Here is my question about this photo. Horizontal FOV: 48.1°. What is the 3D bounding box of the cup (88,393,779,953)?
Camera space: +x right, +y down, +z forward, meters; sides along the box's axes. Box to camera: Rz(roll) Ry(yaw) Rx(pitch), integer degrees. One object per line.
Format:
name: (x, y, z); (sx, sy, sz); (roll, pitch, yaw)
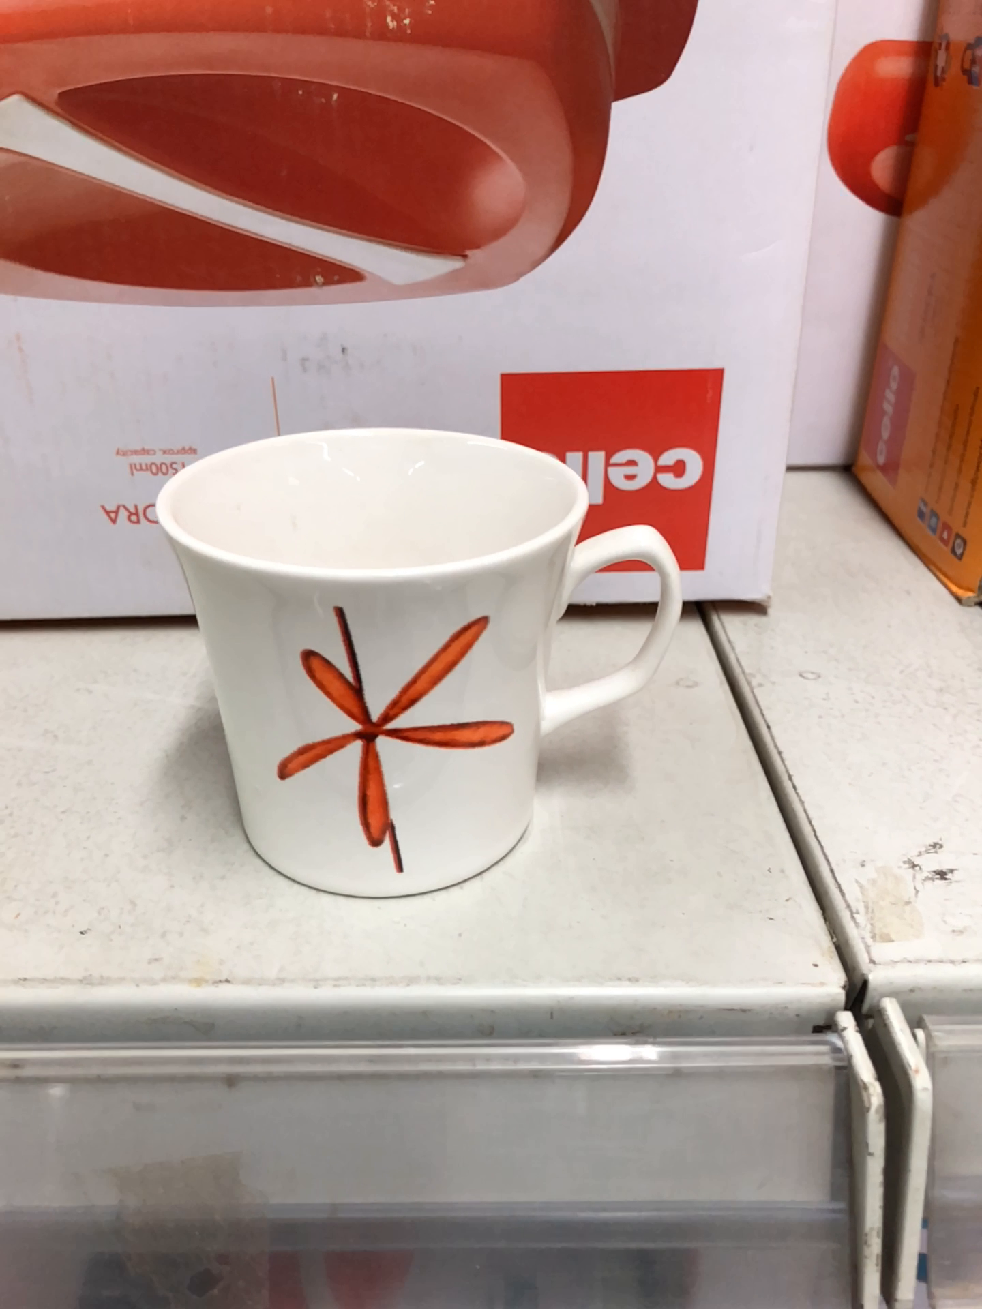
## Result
cup: (-0.012, -0.002, 0.205); (0.100, 0.070, 0.070); (-5, 29, -9)
